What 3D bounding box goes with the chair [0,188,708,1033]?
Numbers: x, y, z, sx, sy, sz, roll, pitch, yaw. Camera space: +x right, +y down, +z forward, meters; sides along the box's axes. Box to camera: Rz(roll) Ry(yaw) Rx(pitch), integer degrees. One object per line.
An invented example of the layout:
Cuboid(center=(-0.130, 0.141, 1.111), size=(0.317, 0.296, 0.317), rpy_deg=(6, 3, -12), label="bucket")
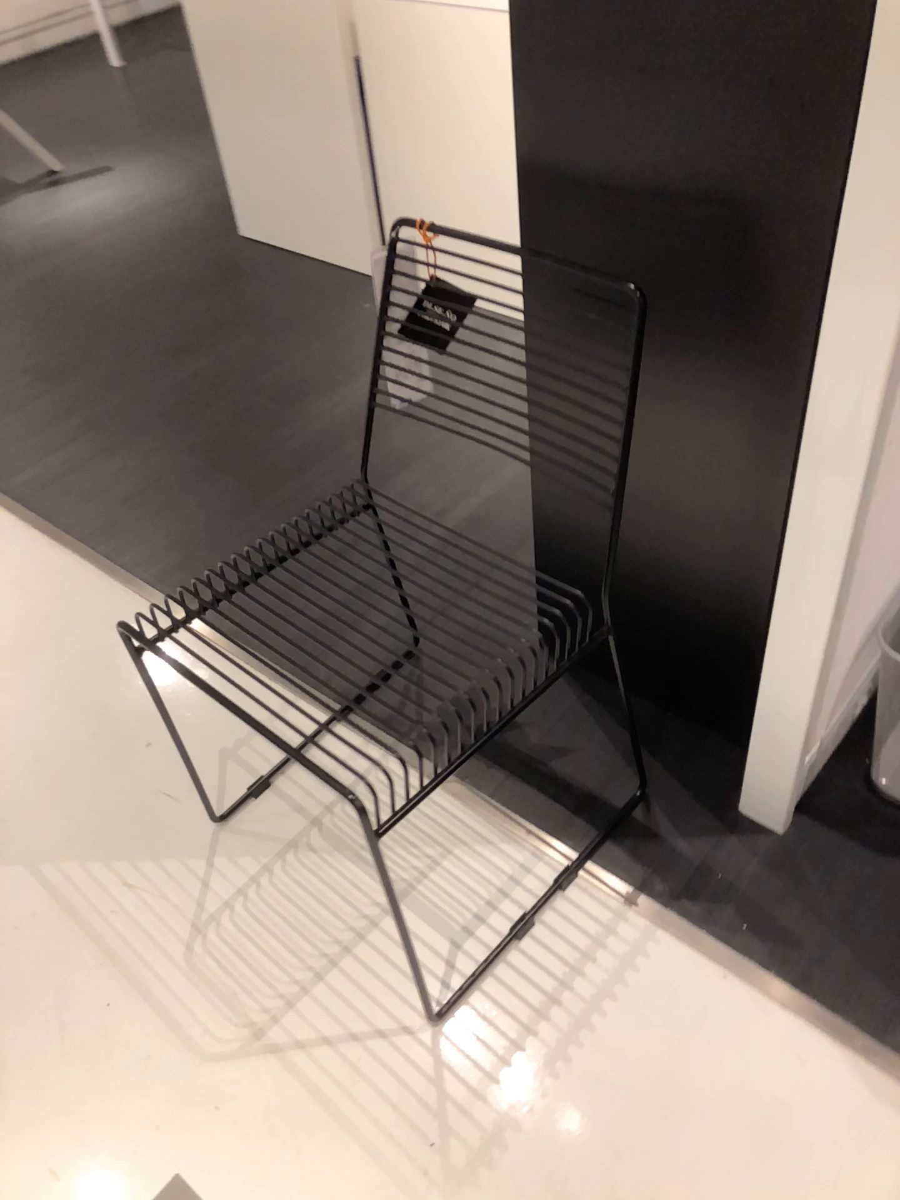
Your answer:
Cuboid(center=(-0.072, 0.010, 1.225), size=(0.522, 0.764, 0.502), rpy_deg=(29, 54, 33), label="chair")
